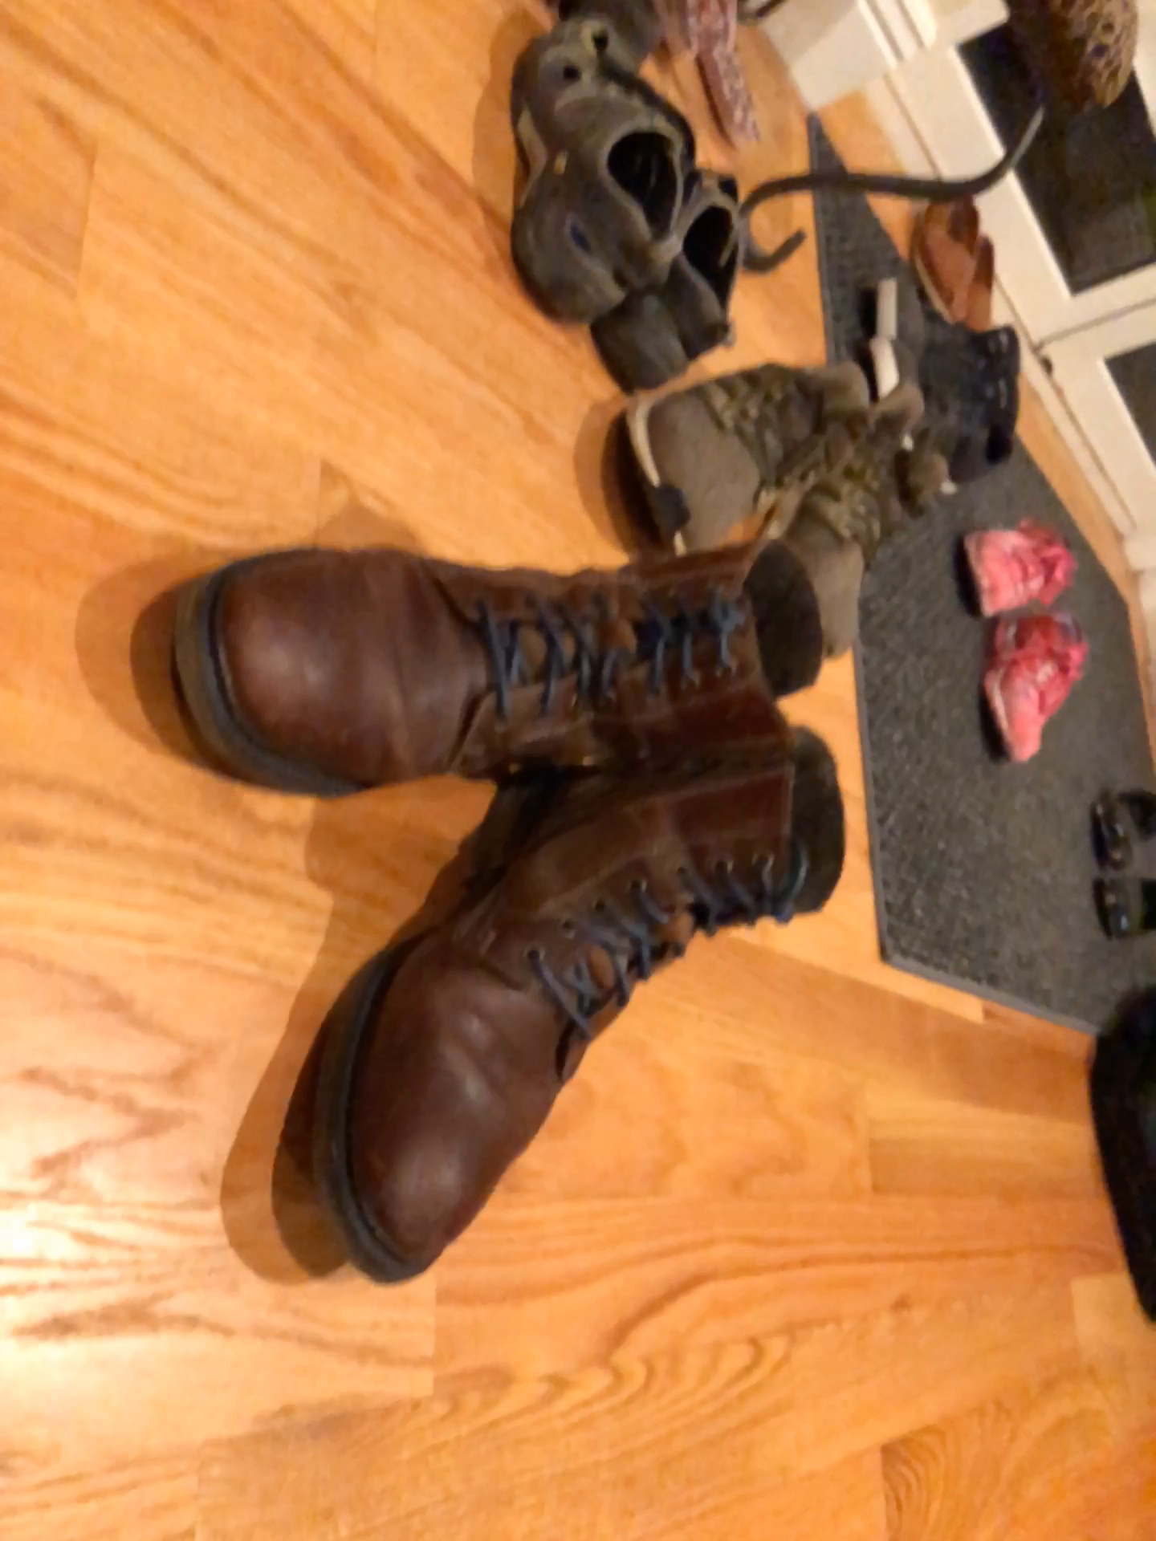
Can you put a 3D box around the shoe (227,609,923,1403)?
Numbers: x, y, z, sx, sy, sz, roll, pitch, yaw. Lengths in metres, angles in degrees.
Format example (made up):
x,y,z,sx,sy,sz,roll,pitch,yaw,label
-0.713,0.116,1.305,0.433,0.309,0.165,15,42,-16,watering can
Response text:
x,y,z,sx,sy,sz,roll,pitch,yaw,label
0.023,0.086,0.556,0.128,0.176,0.305,58,37,-27,shoe

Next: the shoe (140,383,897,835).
x,y,z,sx,sy,sz,roll,pitch,yaw,label
-0.002,-0.055,0.565,0.311,0.167,0.113,-5,83,-58,shoe
